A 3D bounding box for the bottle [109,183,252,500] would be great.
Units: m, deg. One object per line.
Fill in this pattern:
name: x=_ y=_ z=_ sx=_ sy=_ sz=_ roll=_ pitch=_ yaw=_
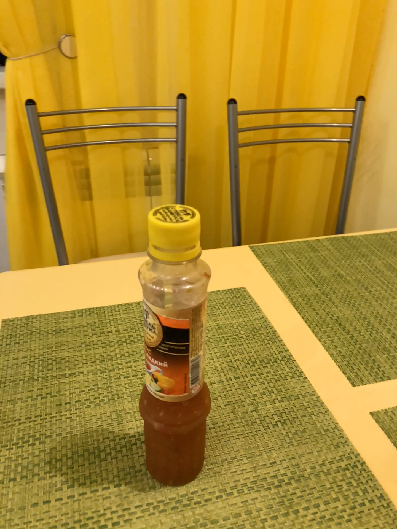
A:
bottle: x=-0.015 y=0.059 z=0.295 sx=0.060 sy=0.209 sz=0.060 roll=2 pitch=30 yaw=-1
